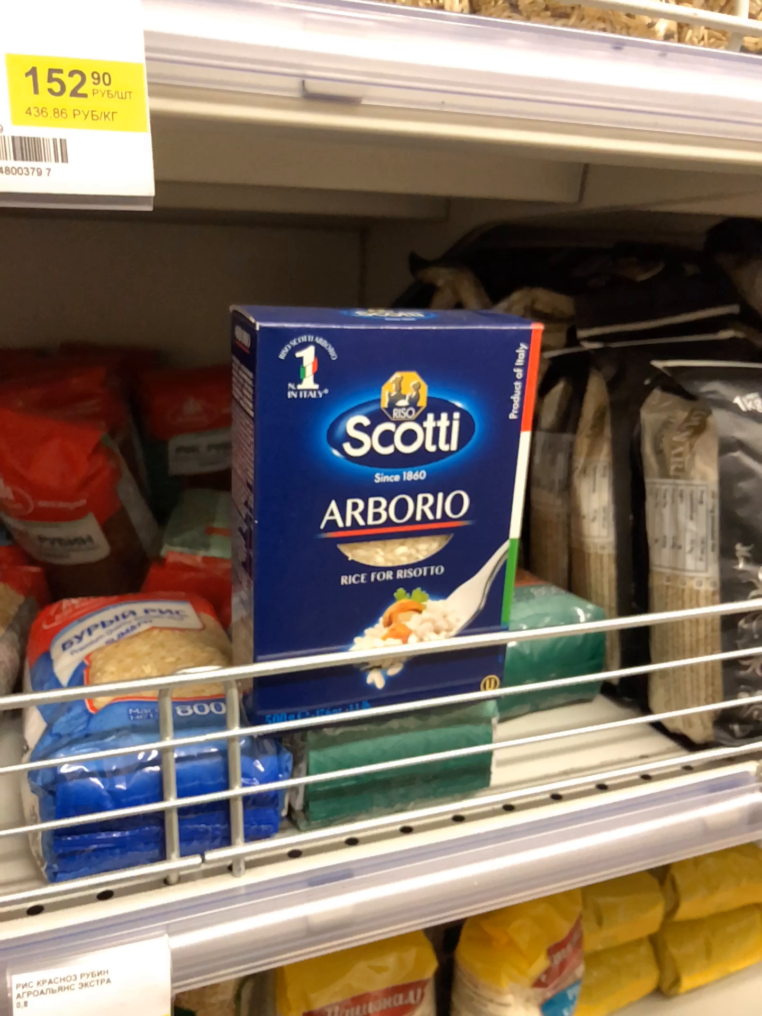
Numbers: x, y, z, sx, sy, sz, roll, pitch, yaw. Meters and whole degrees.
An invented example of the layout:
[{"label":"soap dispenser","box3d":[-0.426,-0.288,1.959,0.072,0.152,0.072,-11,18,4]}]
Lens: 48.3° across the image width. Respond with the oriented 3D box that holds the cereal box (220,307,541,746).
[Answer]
[{"label":"cereal box","box3d":[-0.004,0.003,0.344,0.110,0.159,0.050,-5,19,-22]}]
